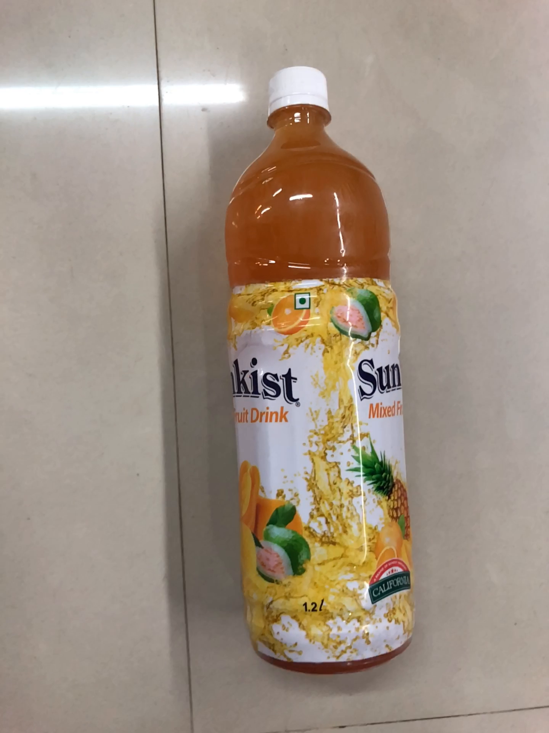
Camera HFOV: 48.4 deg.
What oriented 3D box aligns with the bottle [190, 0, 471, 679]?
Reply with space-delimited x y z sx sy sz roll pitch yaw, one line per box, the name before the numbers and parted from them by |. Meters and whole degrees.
bottle | 0.021 -0.018 0.301 0.100 0.080 0.290 -4 88 -4
